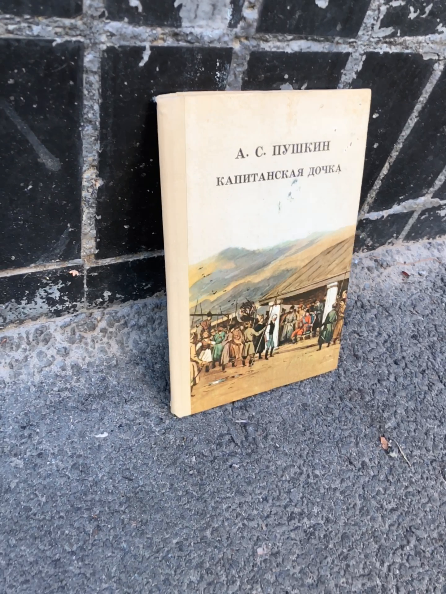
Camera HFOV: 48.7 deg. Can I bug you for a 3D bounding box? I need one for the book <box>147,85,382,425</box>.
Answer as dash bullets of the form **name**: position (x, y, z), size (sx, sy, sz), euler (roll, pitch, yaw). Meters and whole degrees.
- **book**: position (0.025, -0.025, 0.333), size (0.145, 0.215, 0.023), euler (-11, 30, -25)
